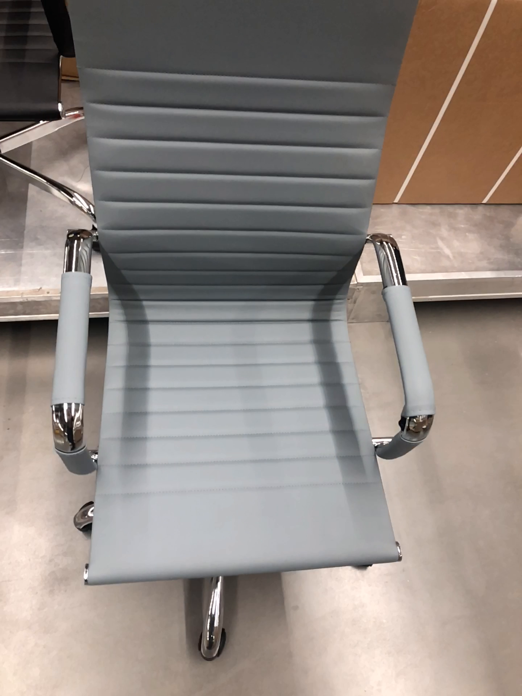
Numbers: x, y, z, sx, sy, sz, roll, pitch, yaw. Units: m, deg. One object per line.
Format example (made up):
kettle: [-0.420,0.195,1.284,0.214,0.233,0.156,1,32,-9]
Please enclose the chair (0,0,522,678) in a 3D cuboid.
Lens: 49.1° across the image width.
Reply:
chair: [-0.044,0.088,0.963,0.710,1.214,0.753,0,59,-7]
